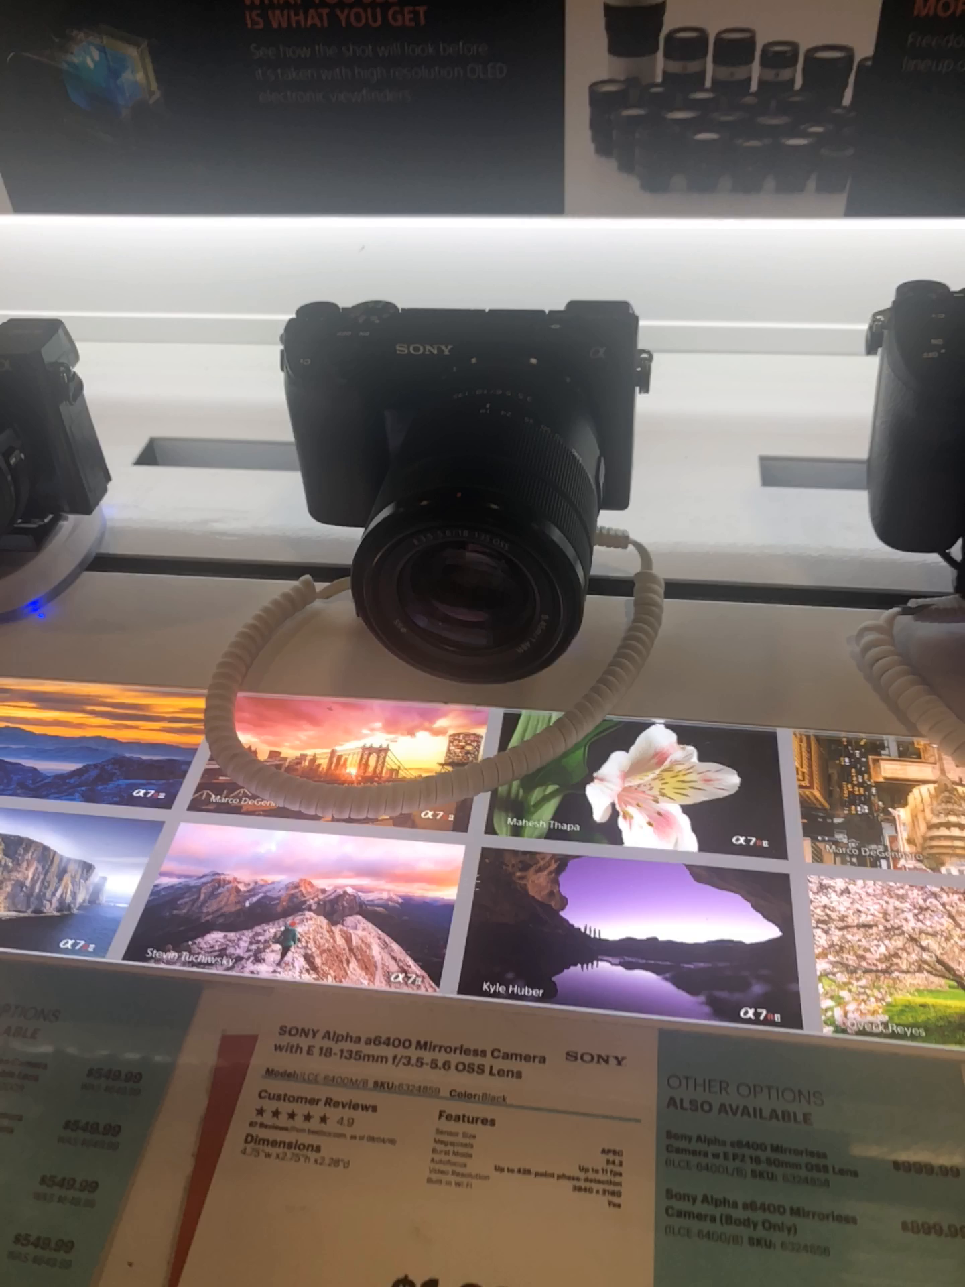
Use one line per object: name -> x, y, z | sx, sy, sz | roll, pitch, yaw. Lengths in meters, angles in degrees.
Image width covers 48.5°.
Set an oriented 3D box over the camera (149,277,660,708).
camera -> -0.013, -0.055, 0.345 | 0.130, 0.070, 0.130 | 4, 43, 8
